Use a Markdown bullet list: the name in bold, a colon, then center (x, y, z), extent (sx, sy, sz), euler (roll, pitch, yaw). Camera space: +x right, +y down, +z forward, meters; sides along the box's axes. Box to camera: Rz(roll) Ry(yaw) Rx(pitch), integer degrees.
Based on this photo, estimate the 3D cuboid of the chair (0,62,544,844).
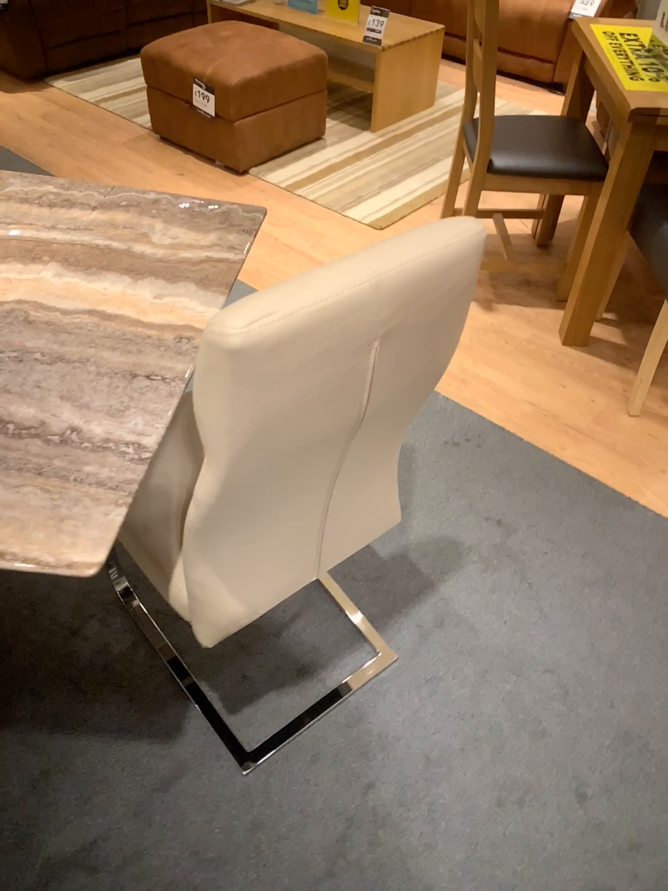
- **chair**: center (-0.169, 0.056, 1.055), extent (0.476, 0.974, 0.572), euler (-28, 52, -27)
